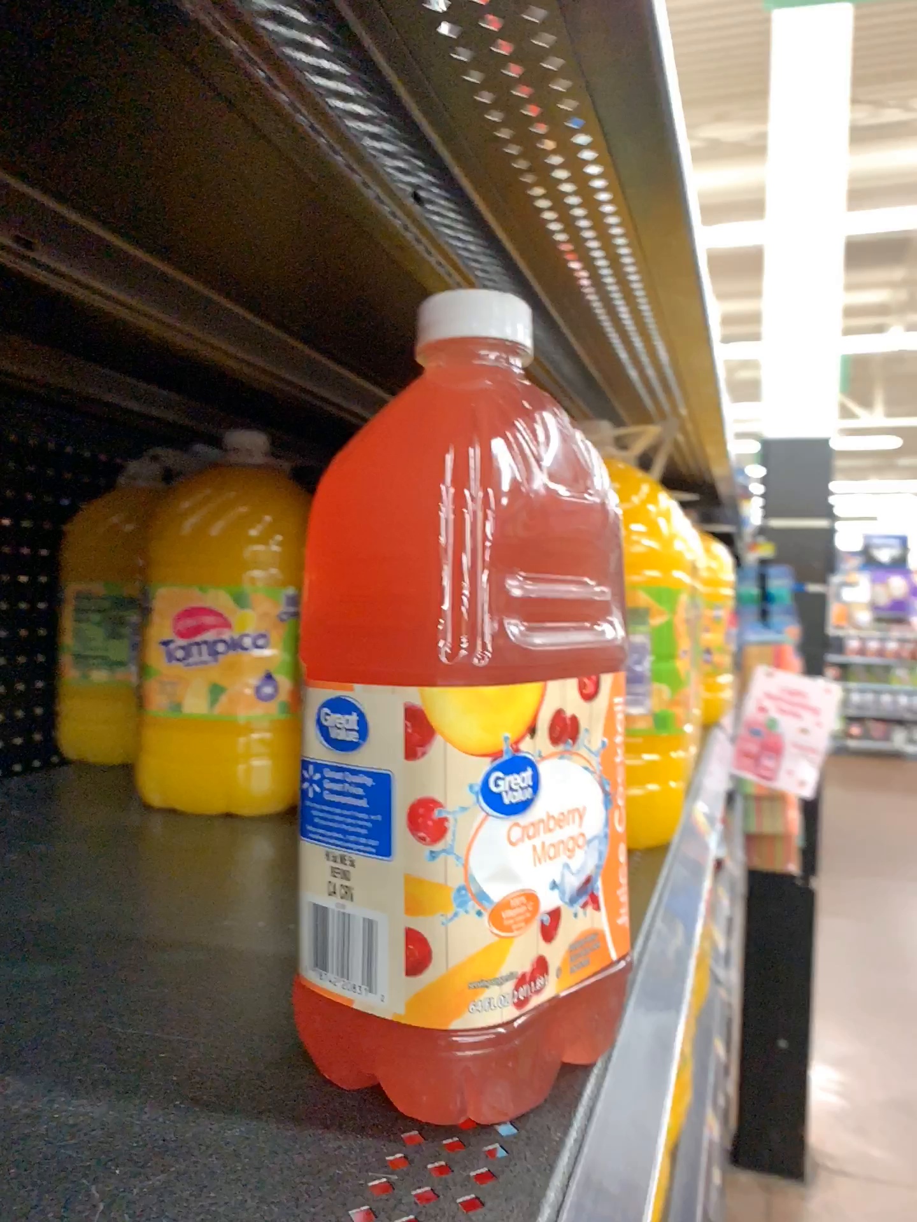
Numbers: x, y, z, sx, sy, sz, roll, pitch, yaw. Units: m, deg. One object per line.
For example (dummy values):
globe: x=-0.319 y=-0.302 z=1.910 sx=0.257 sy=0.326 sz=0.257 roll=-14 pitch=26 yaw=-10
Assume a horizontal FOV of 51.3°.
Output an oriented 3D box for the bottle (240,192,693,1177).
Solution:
bottle: x=0.006 y=0.019 z=0.342 sx=0.101 sy=0.273 sz=0.119 roll=3 pitch=1 yaw=39
